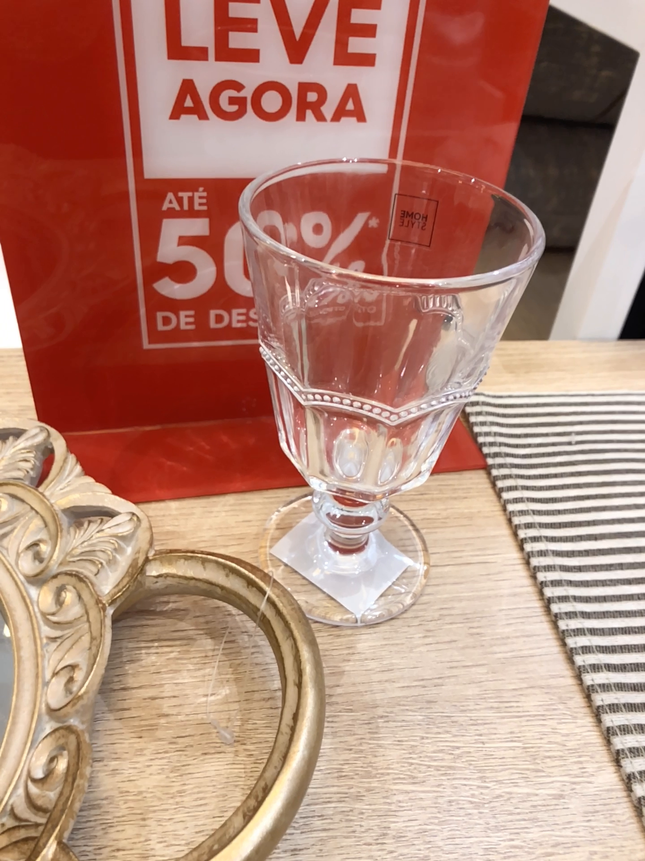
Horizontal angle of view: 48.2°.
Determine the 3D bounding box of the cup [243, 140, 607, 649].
[{"bbox_3d":[0.016,-0.006,0.231,0.080,0.139,0.081,3,39,-3],"label":"cup"}]
